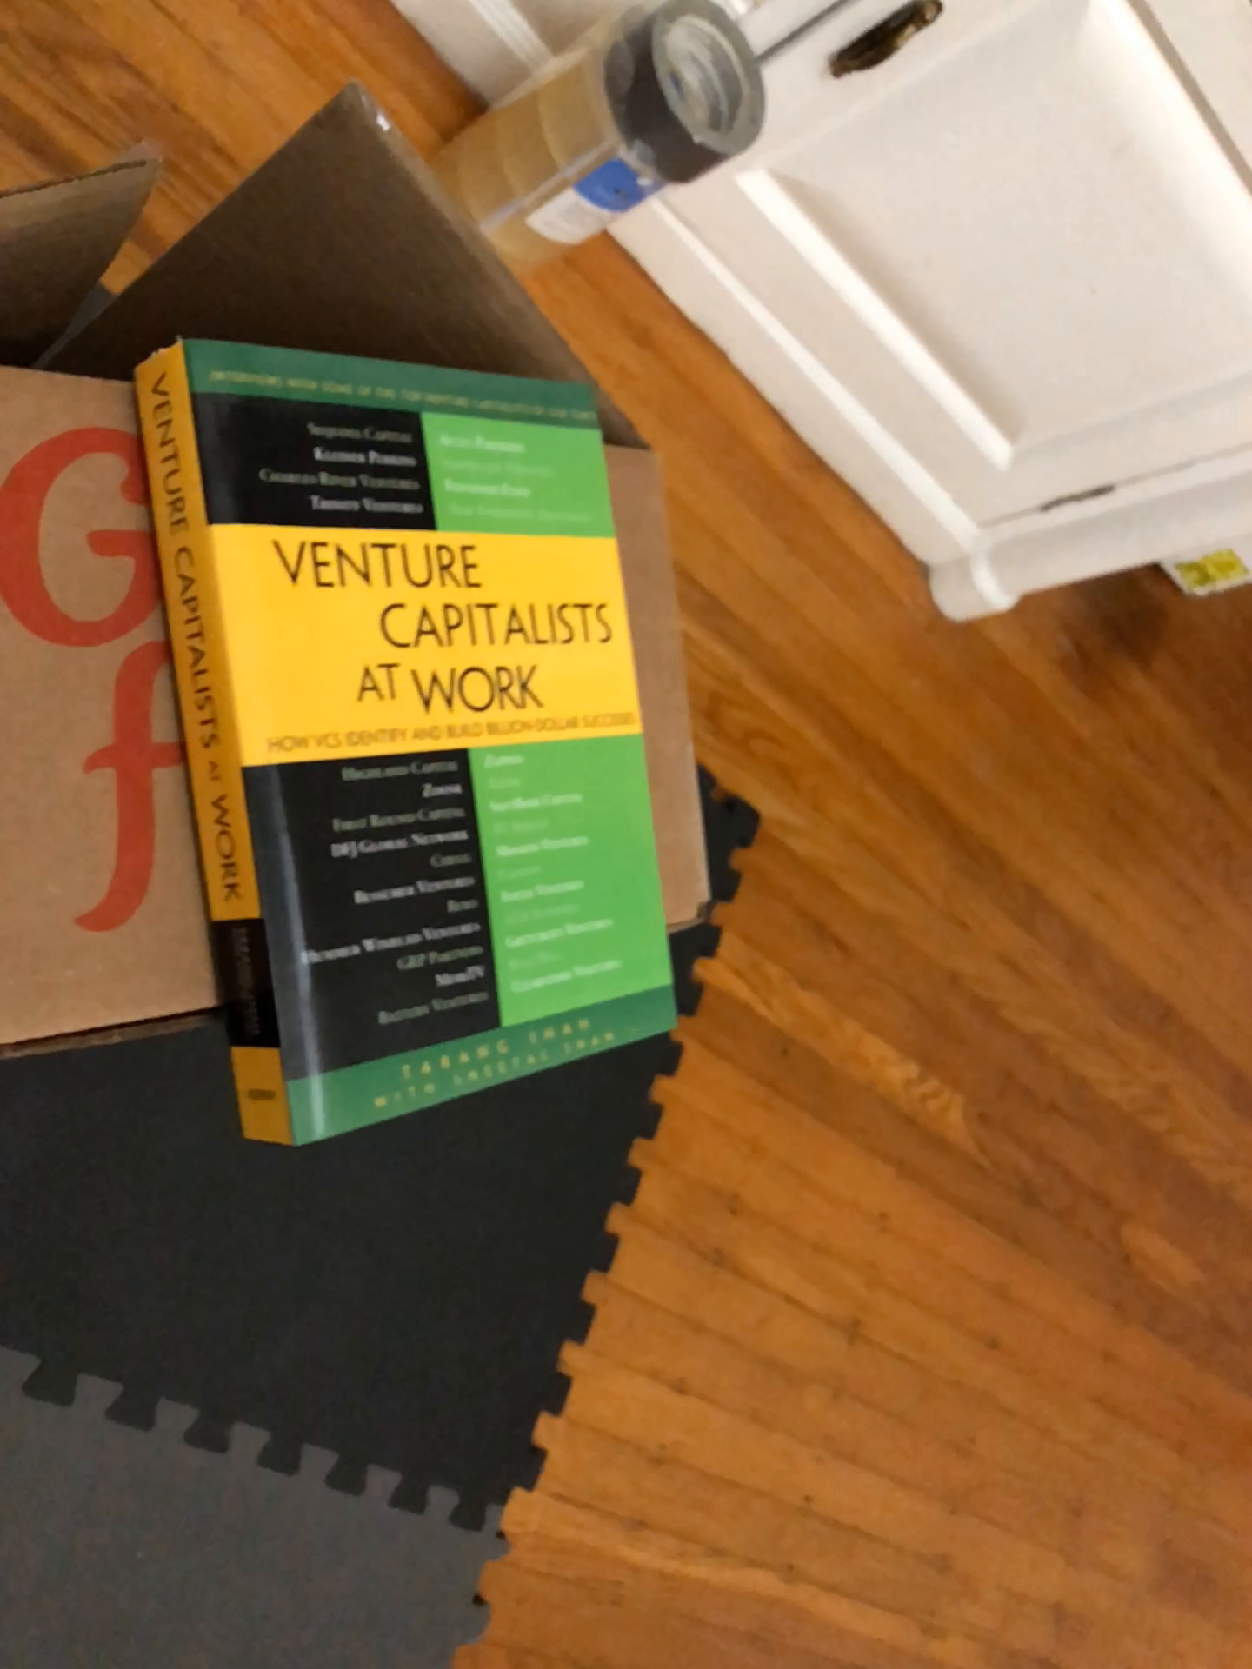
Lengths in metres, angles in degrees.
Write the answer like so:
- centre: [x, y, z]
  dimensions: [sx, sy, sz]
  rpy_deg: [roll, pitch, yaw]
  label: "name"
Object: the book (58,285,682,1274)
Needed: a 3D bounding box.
- centre: [-0.070, -0.021, 0.431]
  dimensions: [0.161, 0.040, 0.260]
  rpy_deg: [-9, 92, -41]
  label: "book"
